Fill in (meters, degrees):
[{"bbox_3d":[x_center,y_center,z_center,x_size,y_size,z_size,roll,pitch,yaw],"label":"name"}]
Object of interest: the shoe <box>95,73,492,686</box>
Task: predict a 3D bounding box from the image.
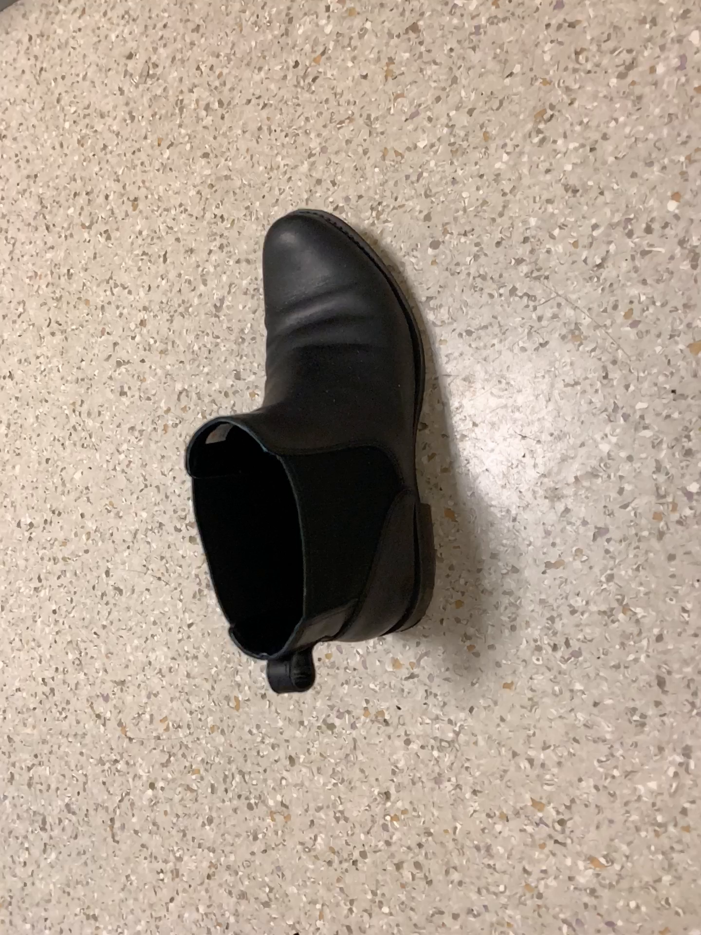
[{"bbox_3d":[-0.028,-0.037,0.399,0.108,0.147,0.270,-18,77,27],"label":"shoe"}]
